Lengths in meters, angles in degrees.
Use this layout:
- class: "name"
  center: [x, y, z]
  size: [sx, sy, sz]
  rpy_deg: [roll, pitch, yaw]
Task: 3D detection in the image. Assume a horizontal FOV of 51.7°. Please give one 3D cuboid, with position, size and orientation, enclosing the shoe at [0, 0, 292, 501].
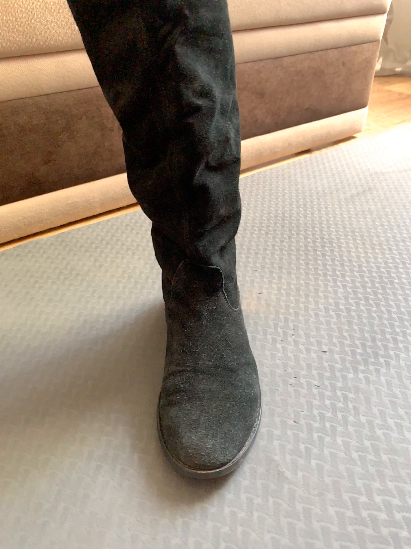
- class: "shoe"
  center: [-0.040, -0.096, 0.329]
  size: [0.130, 0.378, 0.322]
  rpy_deg: [-6, 31, -1]
